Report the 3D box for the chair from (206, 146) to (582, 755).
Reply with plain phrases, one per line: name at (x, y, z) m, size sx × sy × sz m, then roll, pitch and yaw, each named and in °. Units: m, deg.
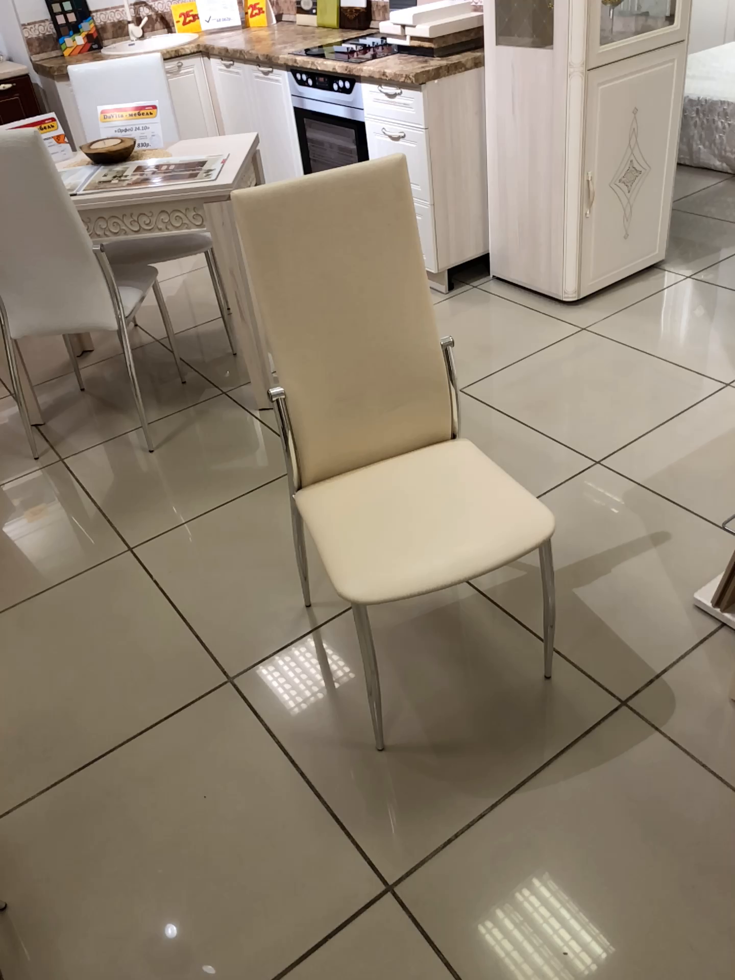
chair at (0.061, -0.063, 1.558) m, size 0.430 × 0.975 × 0.502 m, roll -18°, pitch 37°, yaw -14°
